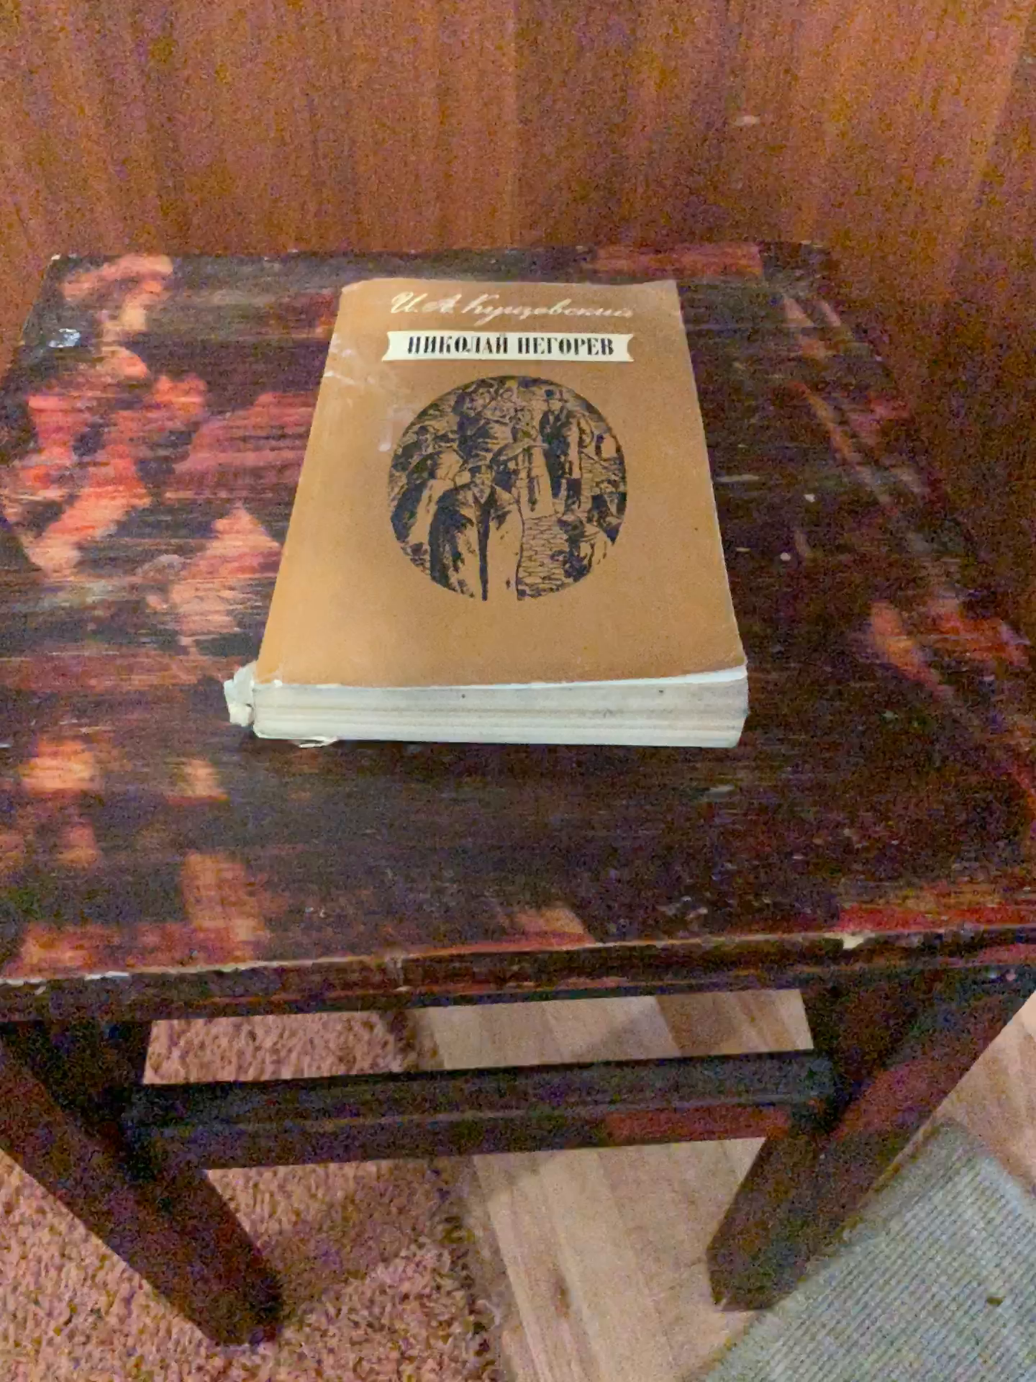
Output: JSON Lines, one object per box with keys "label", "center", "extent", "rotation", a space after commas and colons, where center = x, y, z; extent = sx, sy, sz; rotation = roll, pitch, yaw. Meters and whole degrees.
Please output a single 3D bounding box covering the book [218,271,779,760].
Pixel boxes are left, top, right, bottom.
{"label": "book", "center": [-0.005, -0.064, 0.320], "extent": [0.130, 0.024, 0.192], "rotation": [-1, 49, 1]}
